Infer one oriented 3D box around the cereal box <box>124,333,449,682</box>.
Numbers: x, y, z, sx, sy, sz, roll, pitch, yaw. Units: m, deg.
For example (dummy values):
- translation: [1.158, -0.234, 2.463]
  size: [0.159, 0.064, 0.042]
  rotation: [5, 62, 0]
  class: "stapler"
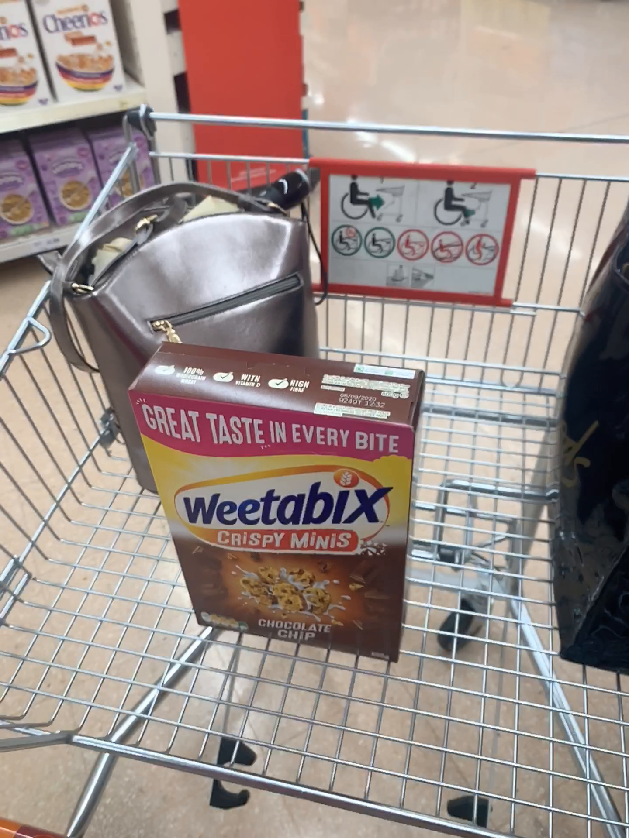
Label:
- translation: [-0.014, 0.093, 0.548]
  size: [0.210, 0.327, 0.071]
  rotation: [7, 43, 9]
  class: "cereal box"
